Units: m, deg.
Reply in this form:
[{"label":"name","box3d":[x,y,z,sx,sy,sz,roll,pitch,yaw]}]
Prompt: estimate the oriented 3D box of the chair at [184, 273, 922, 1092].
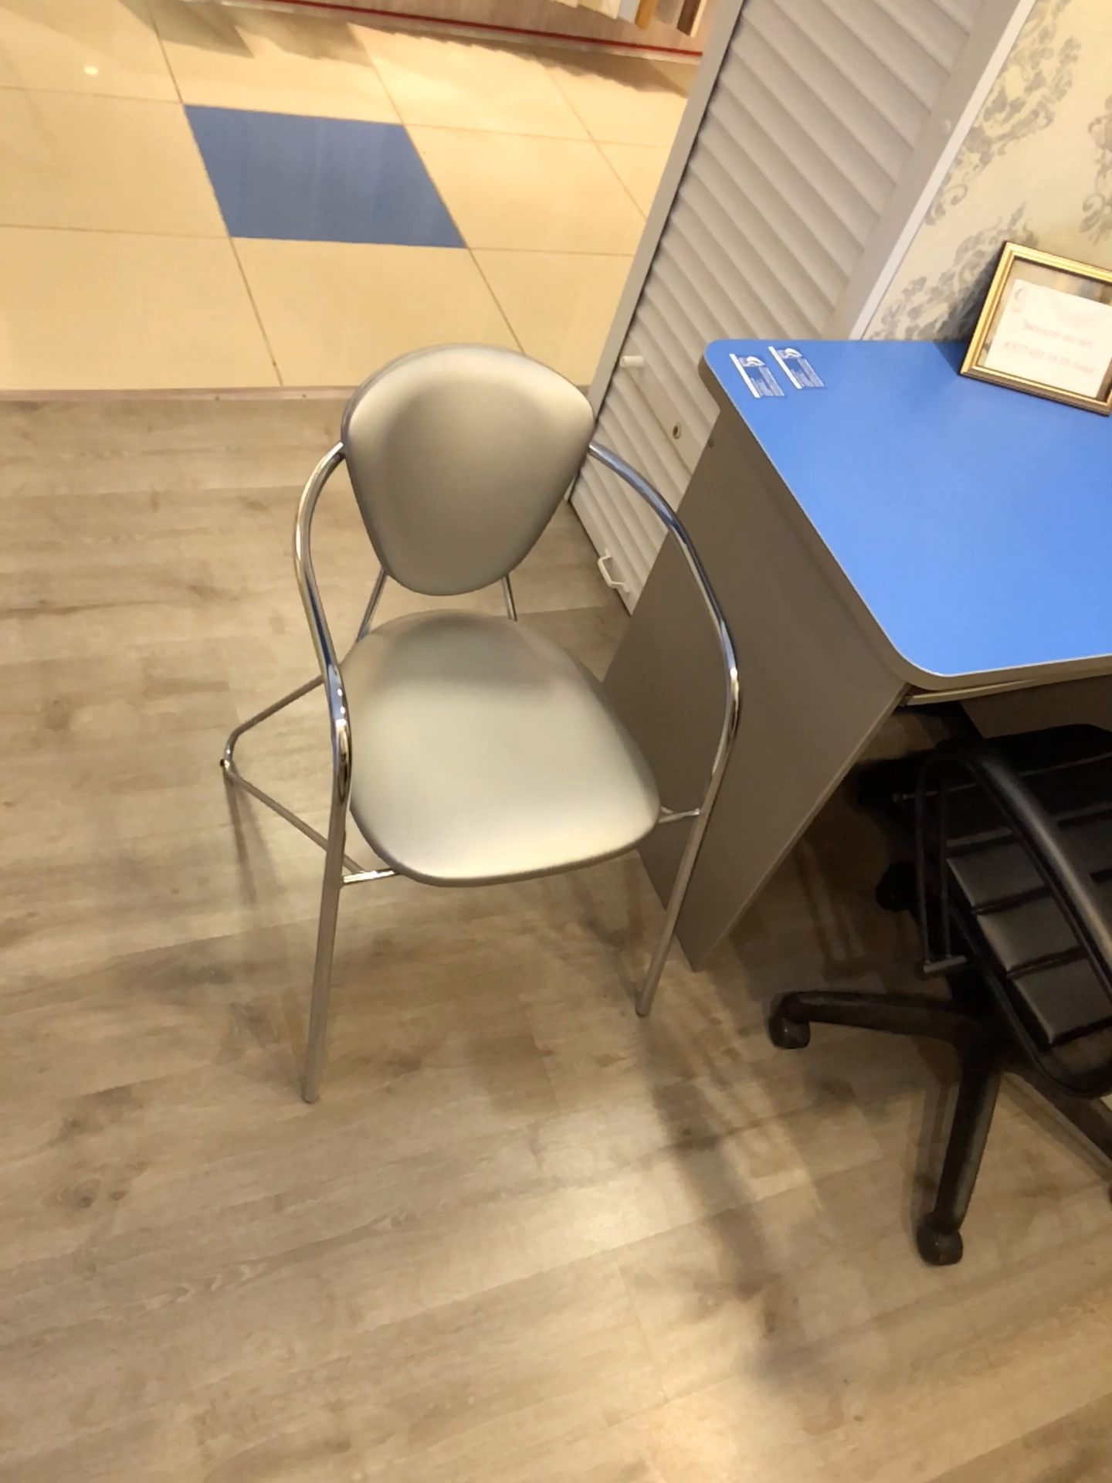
[{"label":"chair","box3d":[-0.104,-0.092,1.680,0.611,0.746,0.732,-10,56,-26]}]
